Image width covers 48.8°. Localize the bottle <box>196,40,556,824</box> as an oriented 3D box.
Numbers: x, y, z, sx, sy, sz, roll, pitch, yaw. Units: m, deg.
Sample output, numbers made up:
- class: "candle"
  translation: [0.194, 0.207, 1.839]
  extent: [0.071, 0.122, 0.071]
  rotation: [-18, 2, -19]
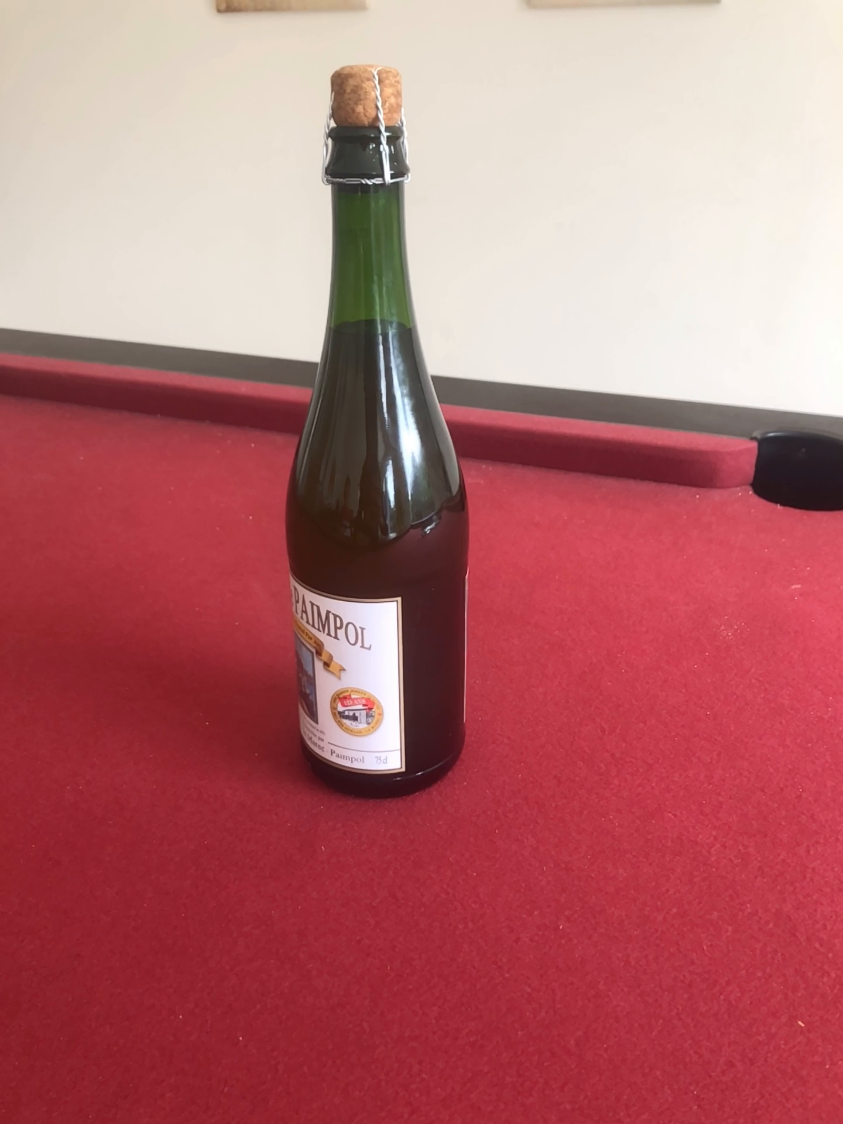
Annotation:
- class: "bottle"
  translation: [-0.019, -0.048, 0.397]
  extent: [0.100, 0.298, 0.090]
  rotation: [-13, 29, -24]
